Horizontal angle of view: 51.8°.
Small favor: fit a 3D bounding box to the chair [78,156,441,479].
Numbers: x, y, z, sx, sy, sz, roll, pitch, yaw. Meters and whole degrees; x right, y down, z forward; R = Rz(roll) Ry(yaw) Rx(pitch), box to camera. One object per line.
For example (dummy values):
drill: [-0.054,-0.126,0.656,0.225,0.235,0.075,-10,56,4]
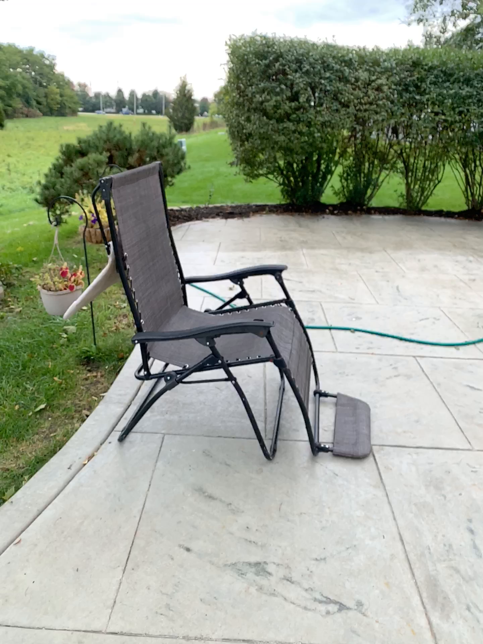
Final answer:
chair: [0.061,-0.087,2.094,1.144,1.057,0.747,5,22,6]
